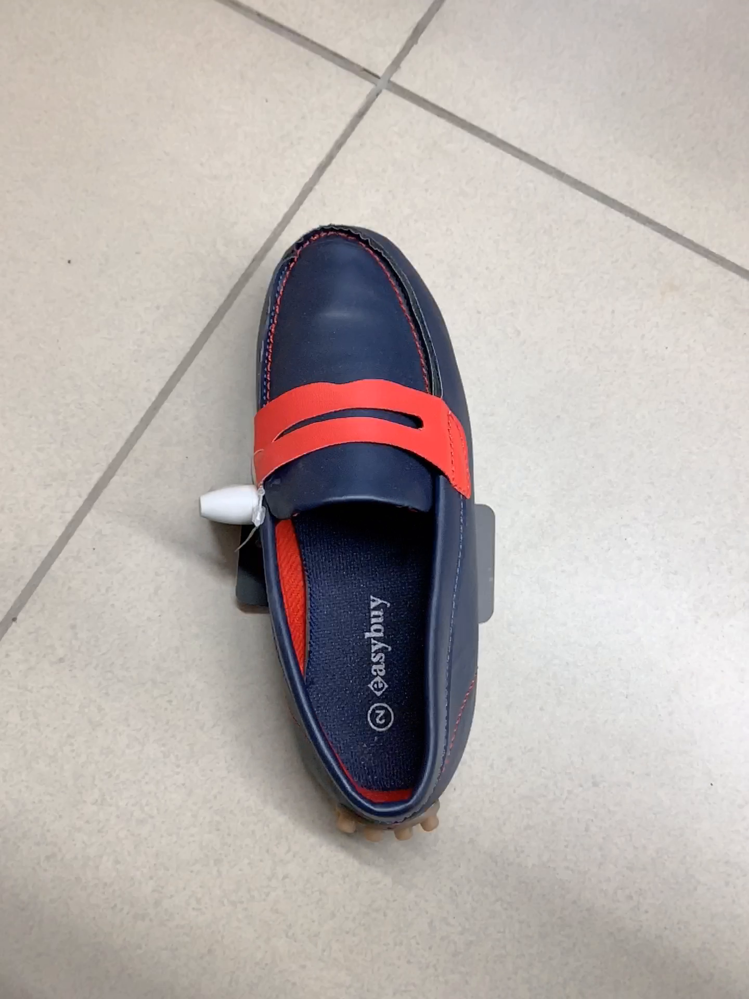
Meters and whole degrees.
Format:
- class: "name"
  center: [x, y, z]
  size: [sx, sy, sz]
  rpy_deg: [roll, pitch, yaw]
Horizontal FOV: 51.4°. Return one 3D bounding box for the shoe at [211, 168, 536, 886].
- class: "shoe"
  center: [-0.005, 0.002, 0.239]
  size: [0.080, 0.050, 0.200]
  rpy_deg: [-1, 76, -4]
